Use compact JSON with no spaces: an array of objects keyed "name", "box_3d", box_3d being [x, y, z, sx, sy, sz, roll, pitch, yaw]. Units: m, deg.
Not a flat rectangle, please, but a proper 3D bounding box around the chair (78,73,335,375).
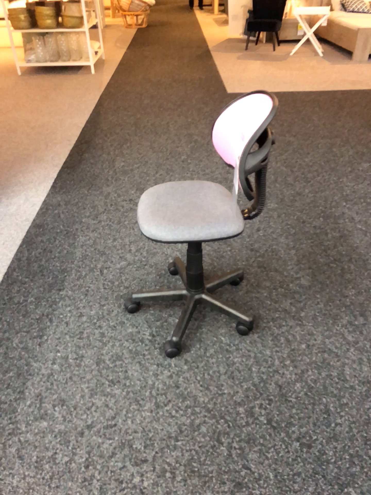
[{"name":"chair","box_3d":[0.014,-0.120,1.408,0.601,0.775,0.603,-10,34,-14]}]
